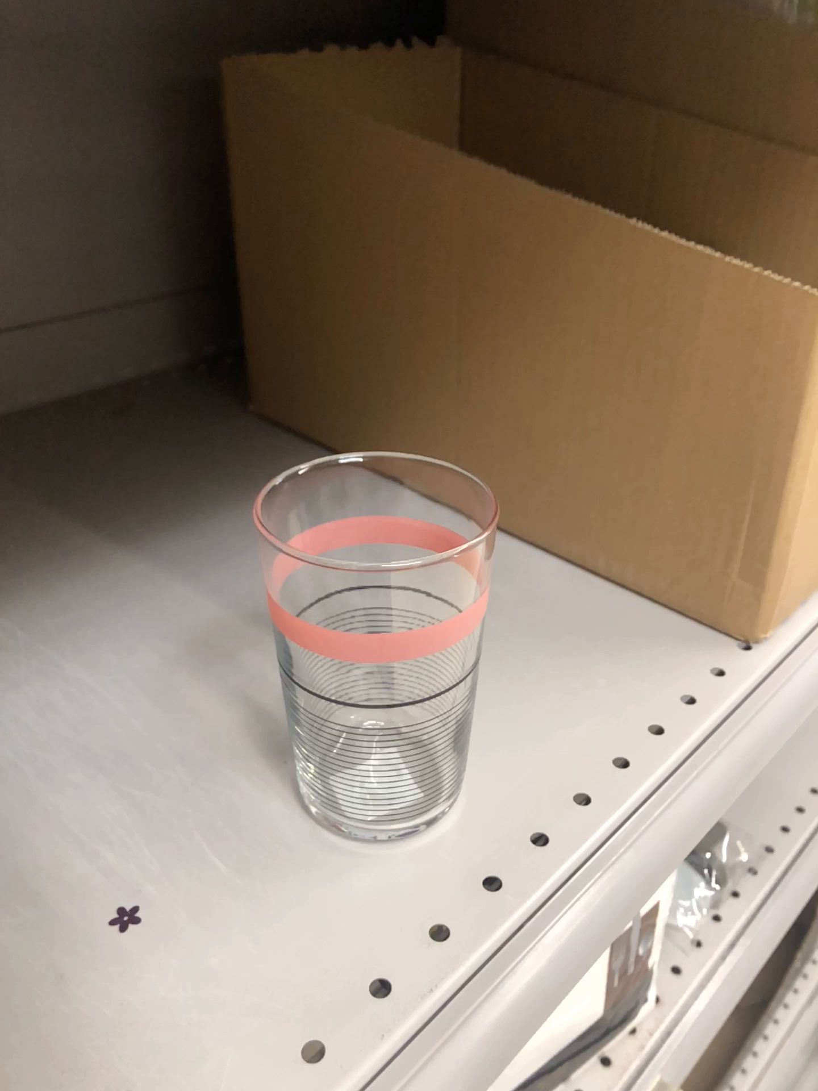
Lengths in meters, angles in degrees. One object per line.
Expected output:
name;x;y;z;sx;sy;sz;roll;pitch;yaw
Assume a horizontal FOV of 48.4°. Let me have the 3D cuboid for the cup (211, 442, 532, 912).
cup;-0.015;0.041;0.293;0.074;0.122;0.064;-12;35;-21
